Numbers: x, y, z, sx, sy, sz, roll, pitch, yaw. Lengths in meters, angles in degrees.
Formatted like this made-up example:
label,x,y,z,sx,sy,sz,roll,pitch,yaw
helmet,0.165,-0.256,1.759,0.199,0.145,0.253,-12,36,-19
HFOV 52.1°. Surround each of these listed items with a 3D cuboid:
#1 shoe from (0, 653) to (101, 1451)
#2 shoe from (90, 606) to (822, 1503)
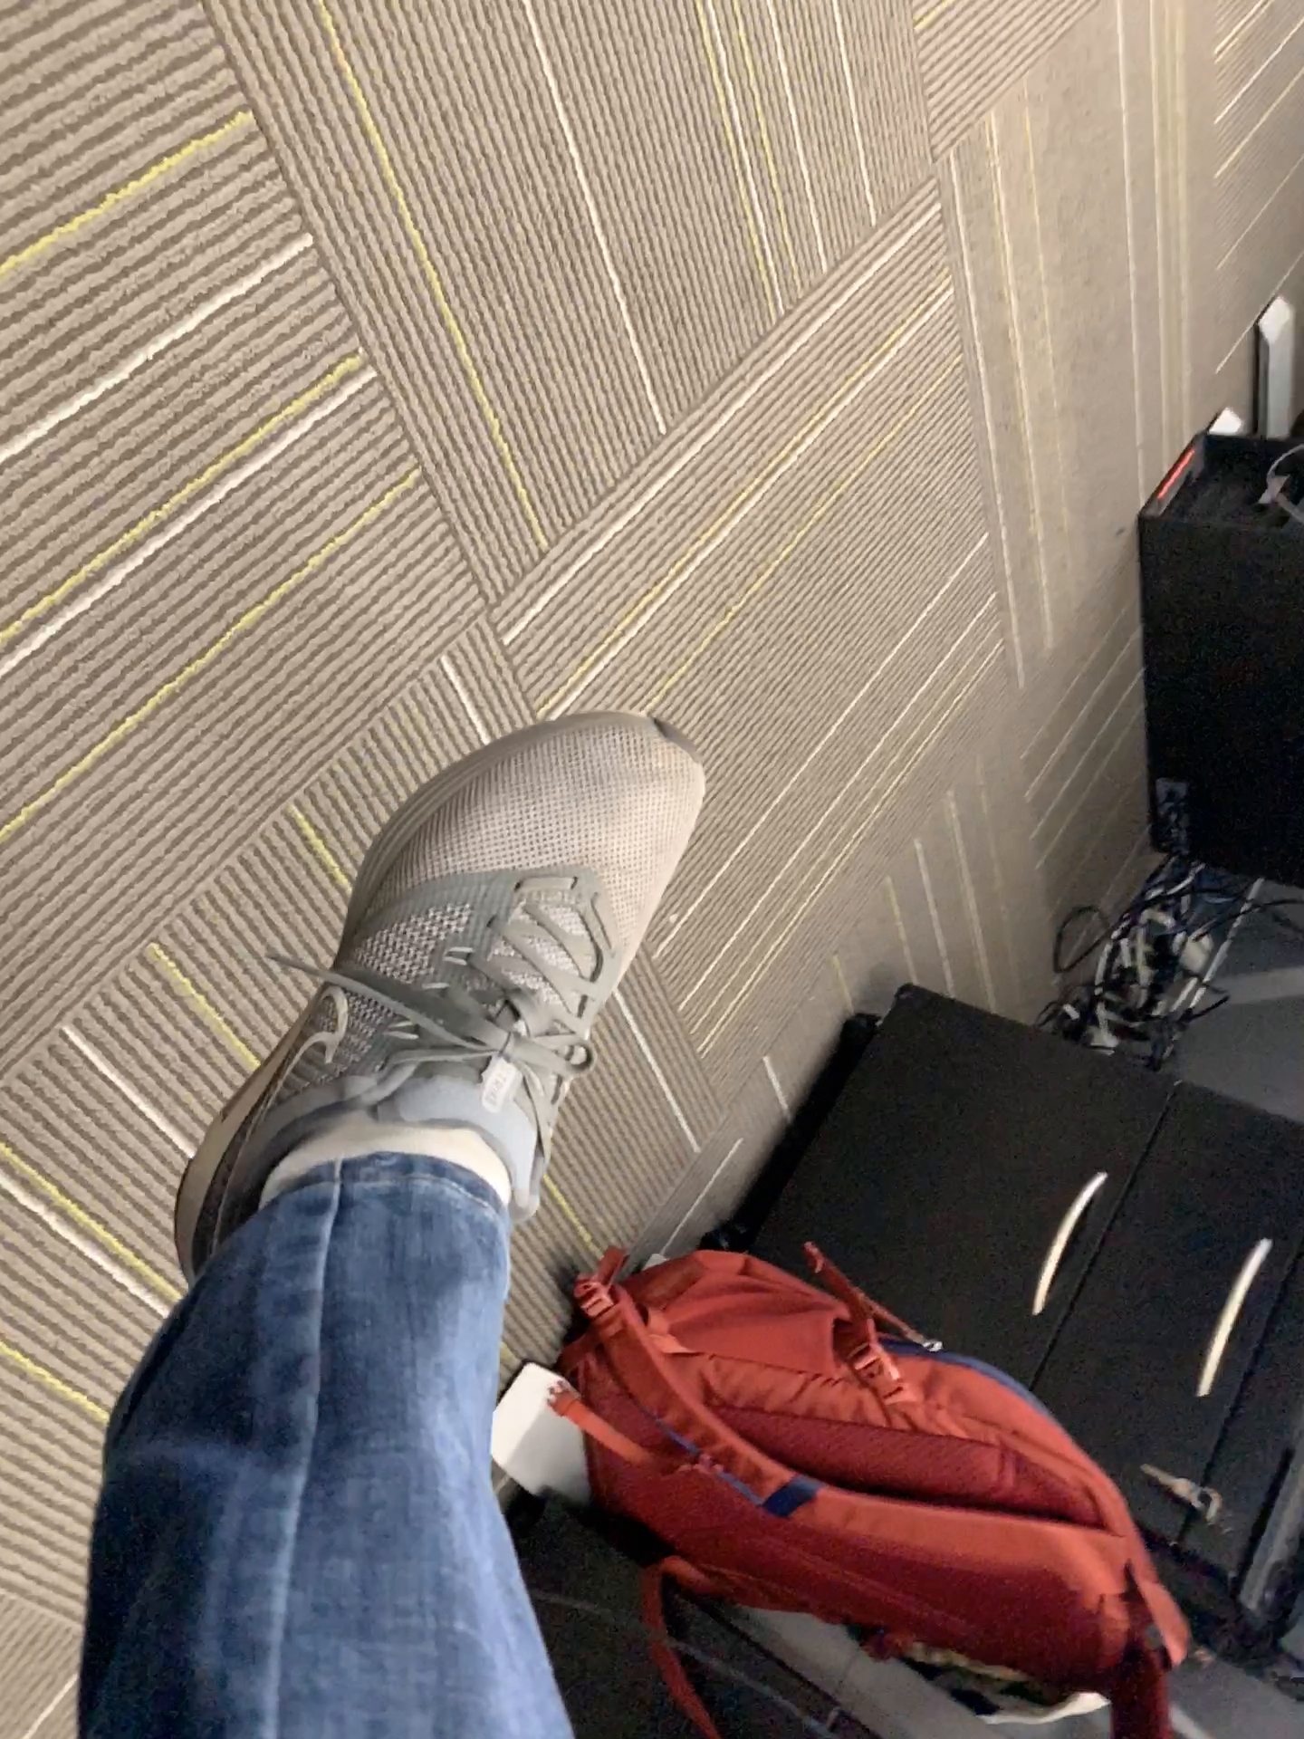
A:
label,x,y,z,sx,sy,sz,roll,pitch,yaw
shoe,-0.444,0.049,0.579,0.310,0.179,0.124,-43,135,-33
shoe,-0.072,0.063,0.531,0.127,0.115,0.297,36,70,-21
